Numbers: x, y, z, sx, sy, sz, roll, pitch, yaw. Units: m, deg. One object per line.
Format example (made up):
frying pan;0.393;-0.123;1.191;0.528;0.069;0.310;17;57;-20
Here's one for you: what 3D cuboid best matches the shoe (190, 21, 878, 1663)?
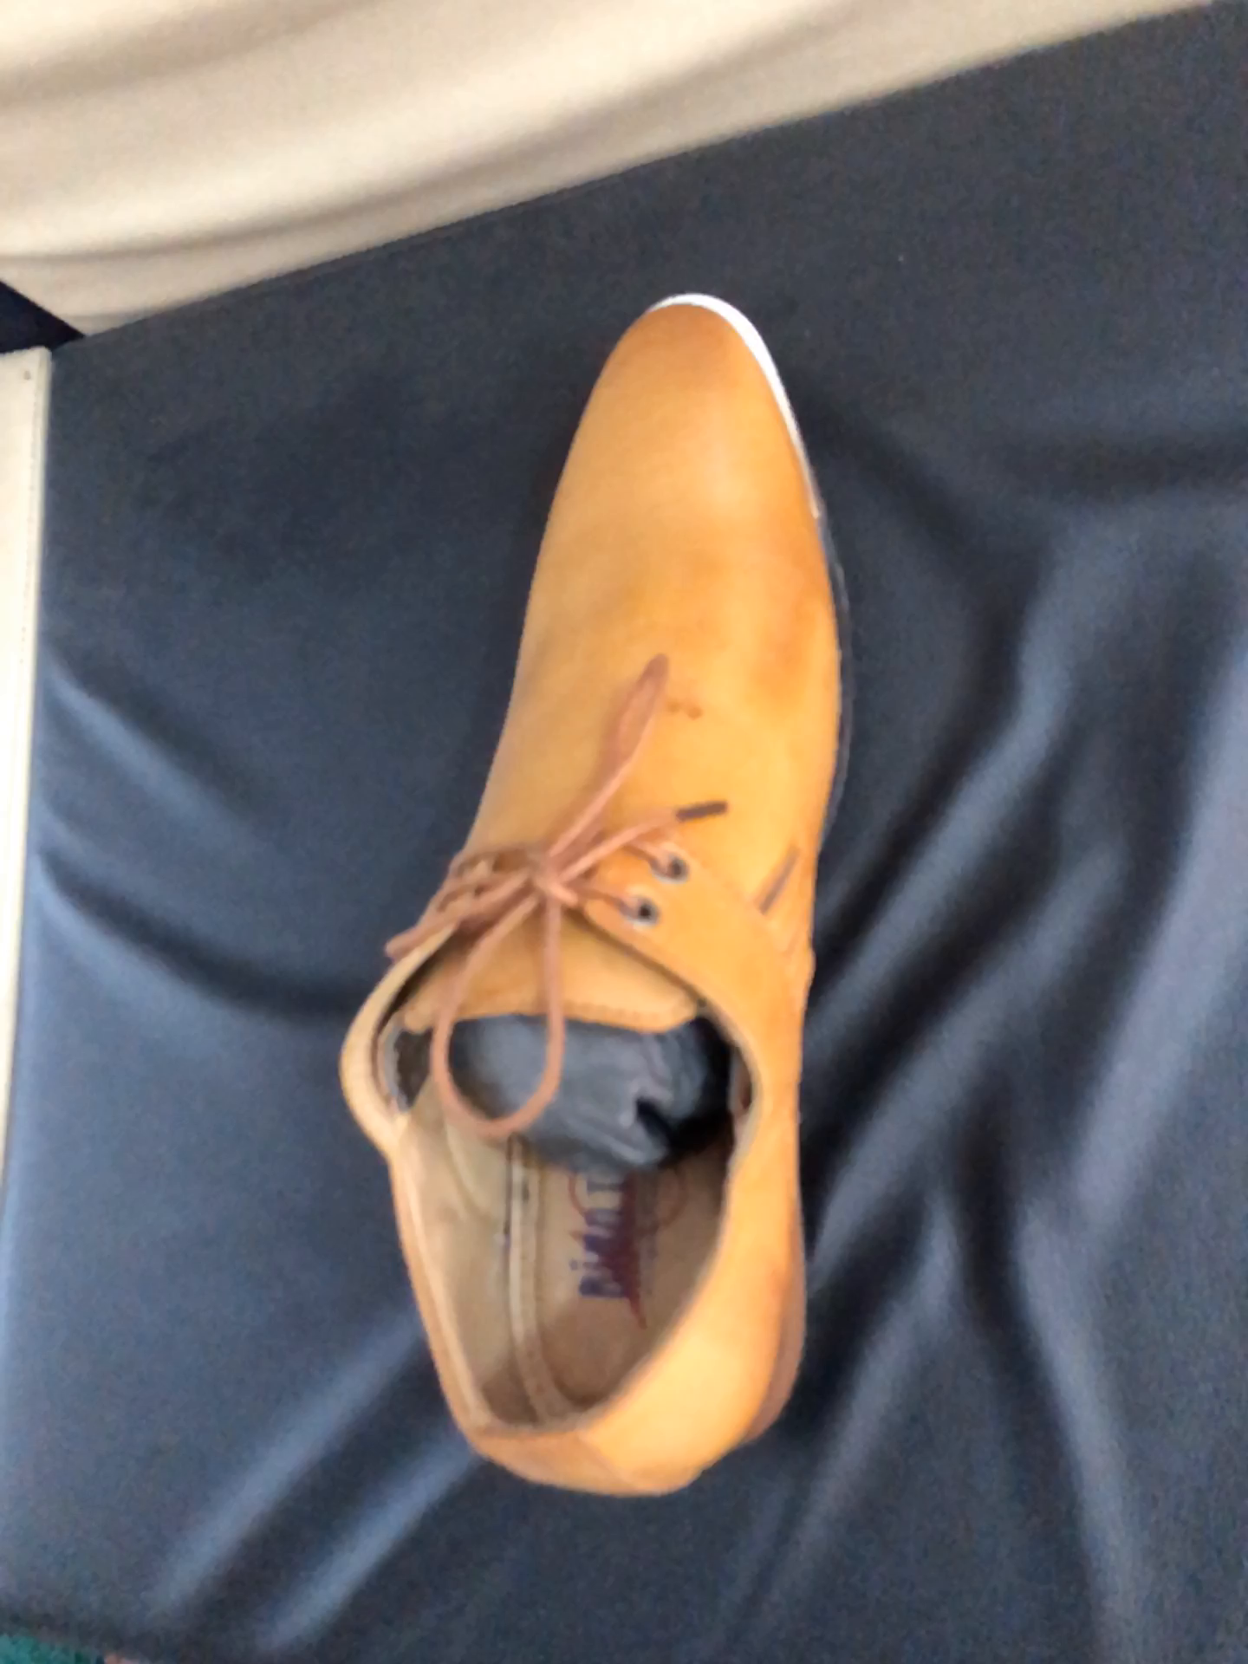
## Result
shoe;-0.009;-0.002;0.311;0.110;0.100;0.300;-2;80;23
